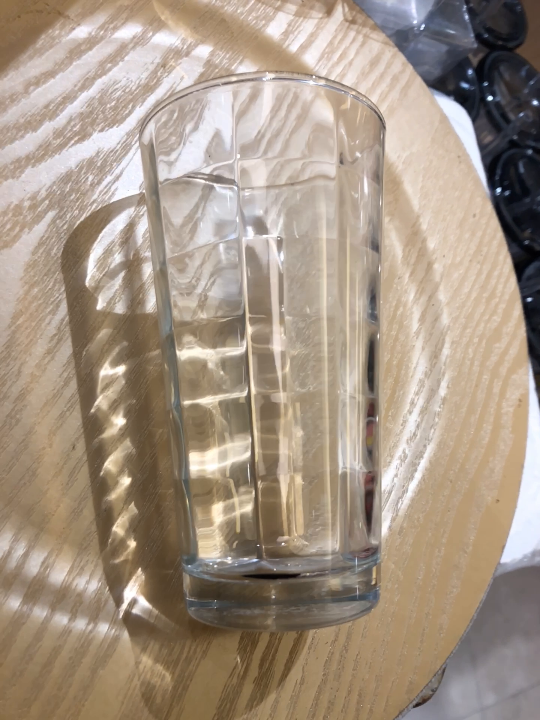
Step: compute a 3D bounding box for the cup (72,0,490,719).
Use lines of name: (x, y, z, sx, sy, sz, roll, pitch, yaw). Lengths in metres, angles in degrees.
cup: (-0.006, -0.009, 0.190, 0.090, 0.080, 0.180, 2, 77, -30)
